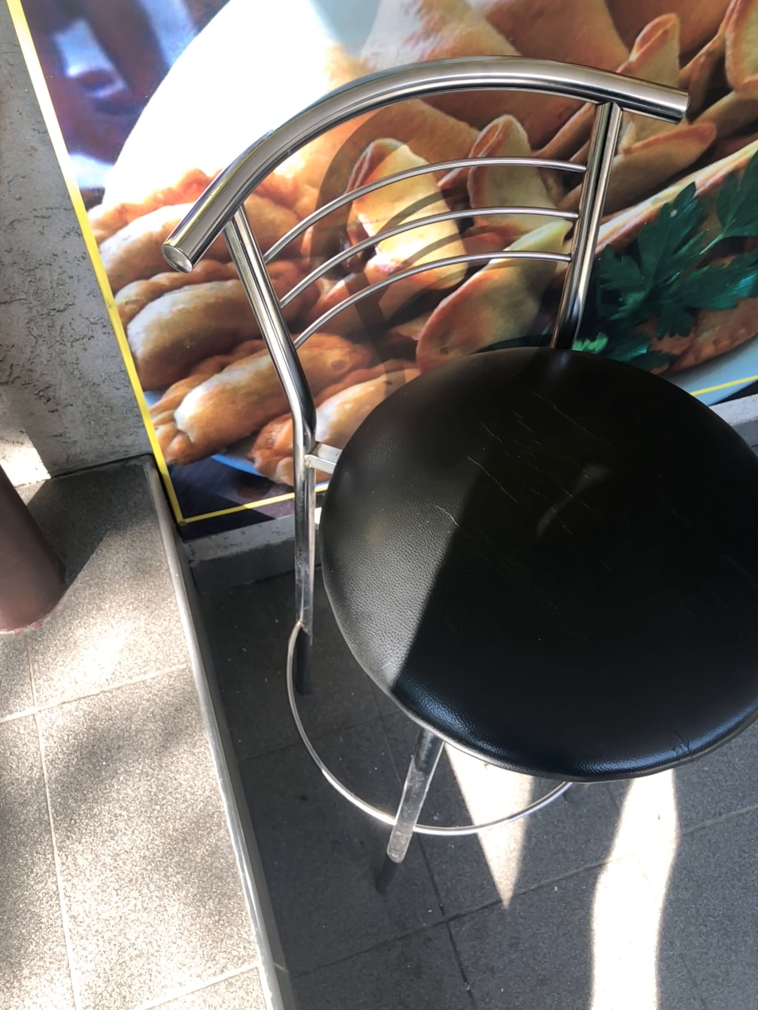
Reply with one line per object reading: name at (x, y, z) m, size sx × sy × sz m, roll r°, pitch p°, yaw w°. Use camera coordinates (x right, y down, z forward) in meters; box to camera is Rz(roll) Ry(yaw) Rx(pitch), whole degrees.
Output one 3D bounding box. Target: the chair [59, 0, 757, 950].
chair at (0.102, 0.115, 1.022) m, size 0.511 × 1.097 × 0.501 m, roll -28°, pitch 64°, yaw -19°
